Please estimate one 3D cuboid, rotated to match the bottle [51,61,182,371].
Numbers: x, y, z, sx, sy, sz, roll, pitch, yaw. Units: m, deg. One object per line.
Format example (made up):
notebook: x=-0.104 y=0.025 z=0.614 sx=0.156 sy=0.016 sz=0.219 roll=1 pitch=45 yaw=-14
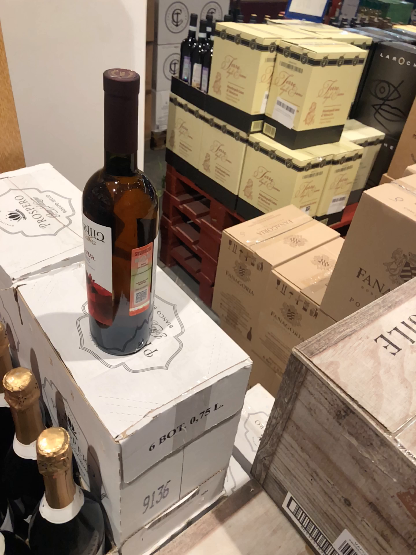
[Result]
bottle: x=-0.093 y=-0.048 z=0.467 sx=0.080 sy=0.298 sz=0.090 roll=-14 pitch=43 yaw=-25
